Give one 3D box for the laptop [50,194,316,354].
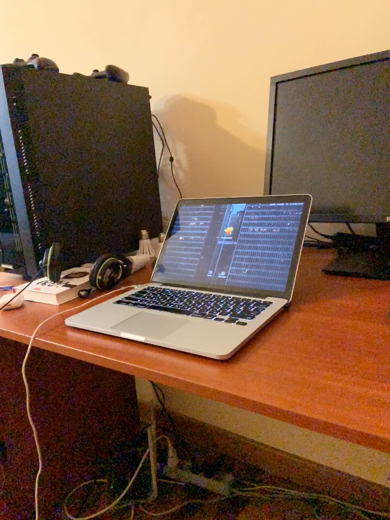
[{"bbox_3d":[0.002,-0.010,0.688,0.300,0.155,0.341,4,17,34],"label":"laptop"}]
